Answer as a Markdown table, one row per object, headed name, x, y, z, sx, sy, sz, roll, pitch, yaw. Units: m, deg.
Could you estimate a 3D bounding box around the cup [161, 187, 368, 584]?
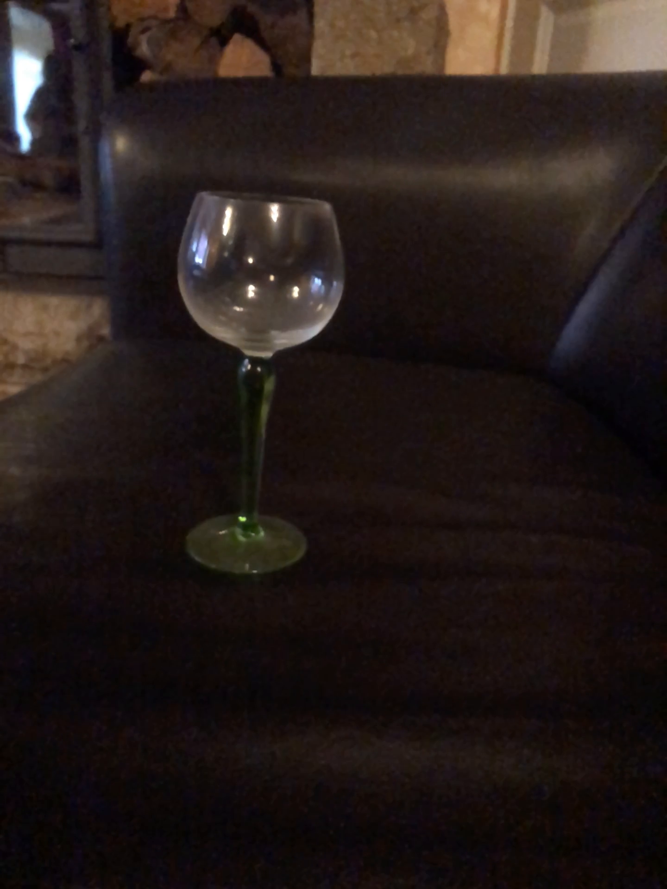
| name | x | y | z | sx | sy | sz | roll | pitch | yaw |
| --- | --- | --- | --- | --- | --- | --- | --- | --- | --- |
| cup | -0.036 | -0.034 | 0.390 | 0.079 | 0.185 | 0.080 | 5 | 19 | -2 |
